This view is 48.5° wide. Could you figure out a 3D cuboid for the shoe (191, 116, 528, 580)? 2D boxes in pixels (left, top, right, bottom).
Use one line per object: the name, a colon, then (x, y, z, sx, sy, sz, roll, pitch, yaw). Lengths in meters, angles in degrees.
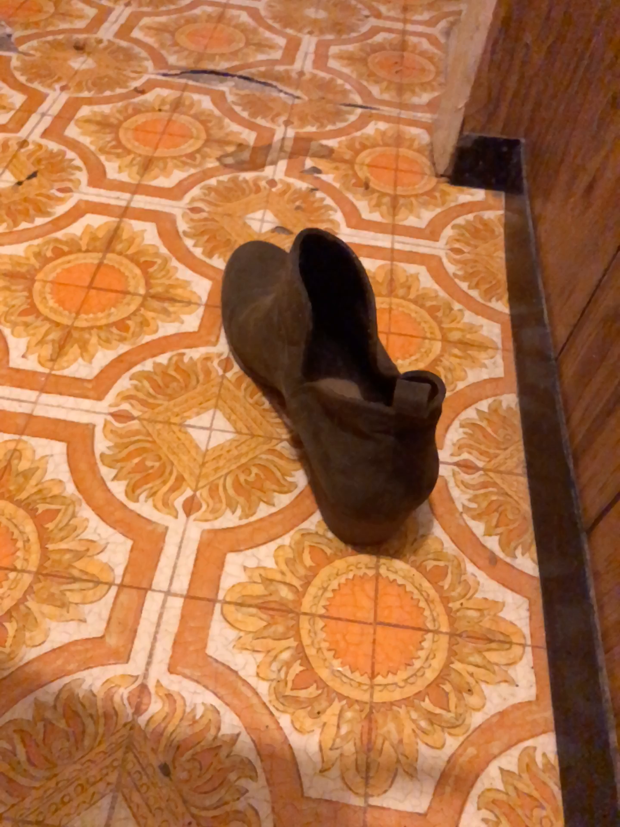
shoe: (0.006, -0.052, 0.426, 0.080, 0.130, 0.260, -15, 55, -19)
